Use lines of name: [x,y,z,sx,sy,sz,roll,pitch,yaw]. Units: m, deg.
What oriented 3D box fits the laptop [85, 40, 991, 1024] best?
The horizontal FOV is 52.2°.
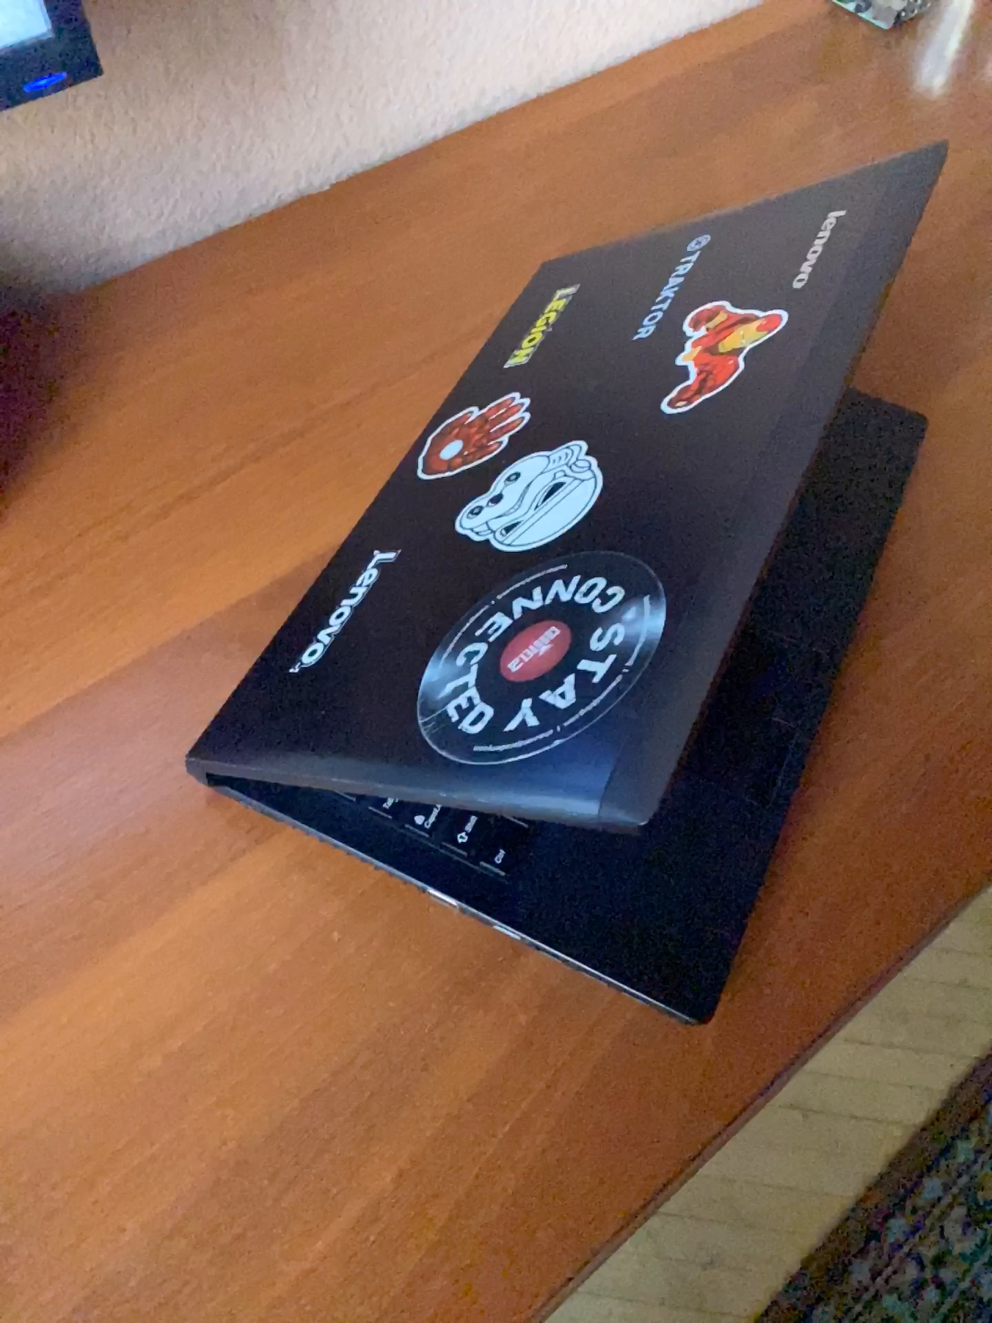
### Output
laptop: [0.057,-0.086,0.466,0.256,0.149,0.378,24,60,11]
